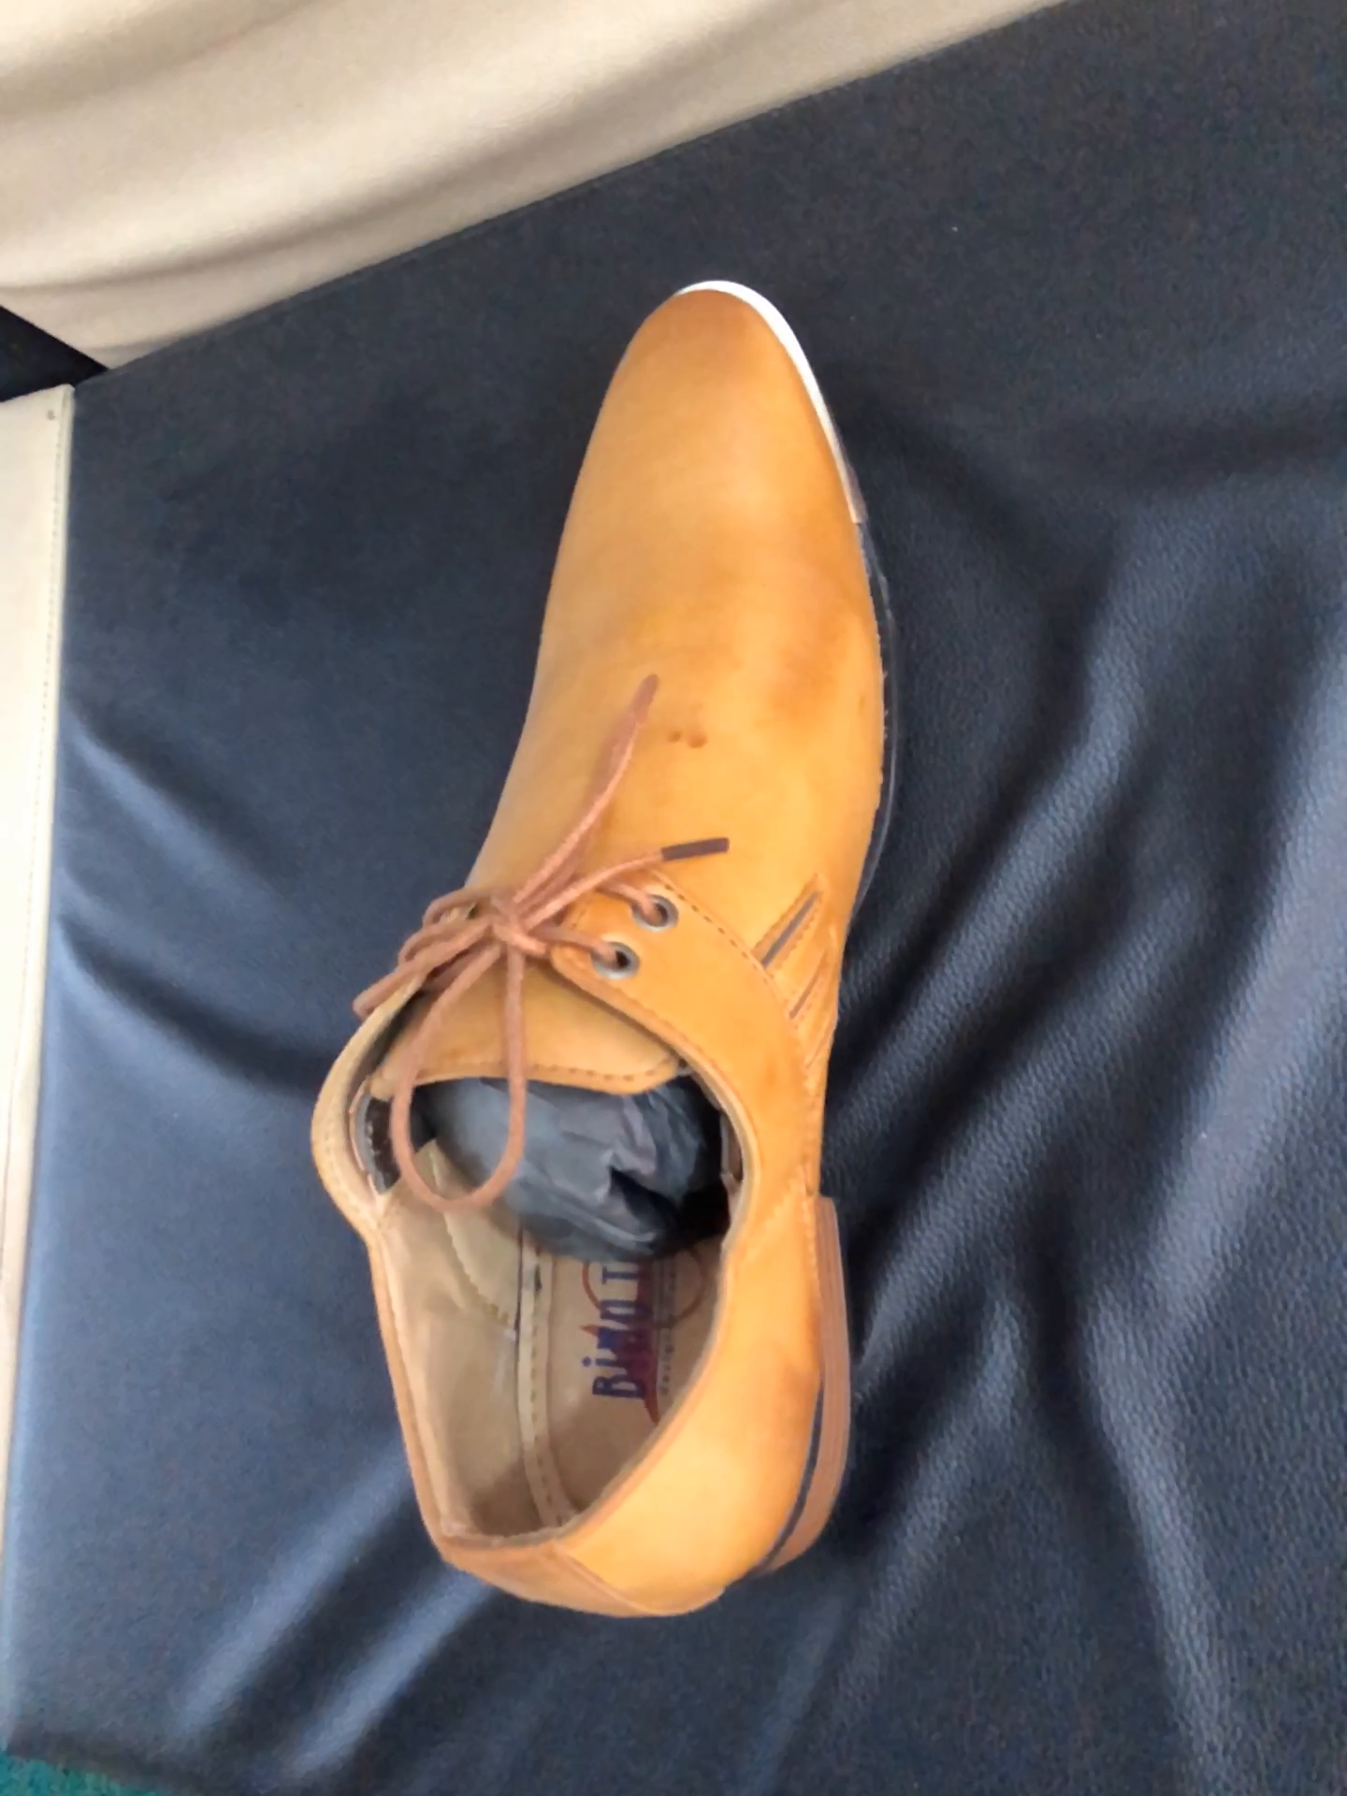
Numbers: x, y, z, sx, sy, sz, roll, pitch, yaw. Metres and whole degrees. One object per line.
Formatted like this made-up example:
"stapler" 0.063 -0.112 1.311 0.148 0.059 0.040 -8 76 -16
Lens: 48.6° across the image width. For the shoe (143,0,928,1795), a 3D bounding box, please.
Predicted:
"shoe" -0.017 -0.006 0.304 0.110 0.100 0.300 -3 80 28
